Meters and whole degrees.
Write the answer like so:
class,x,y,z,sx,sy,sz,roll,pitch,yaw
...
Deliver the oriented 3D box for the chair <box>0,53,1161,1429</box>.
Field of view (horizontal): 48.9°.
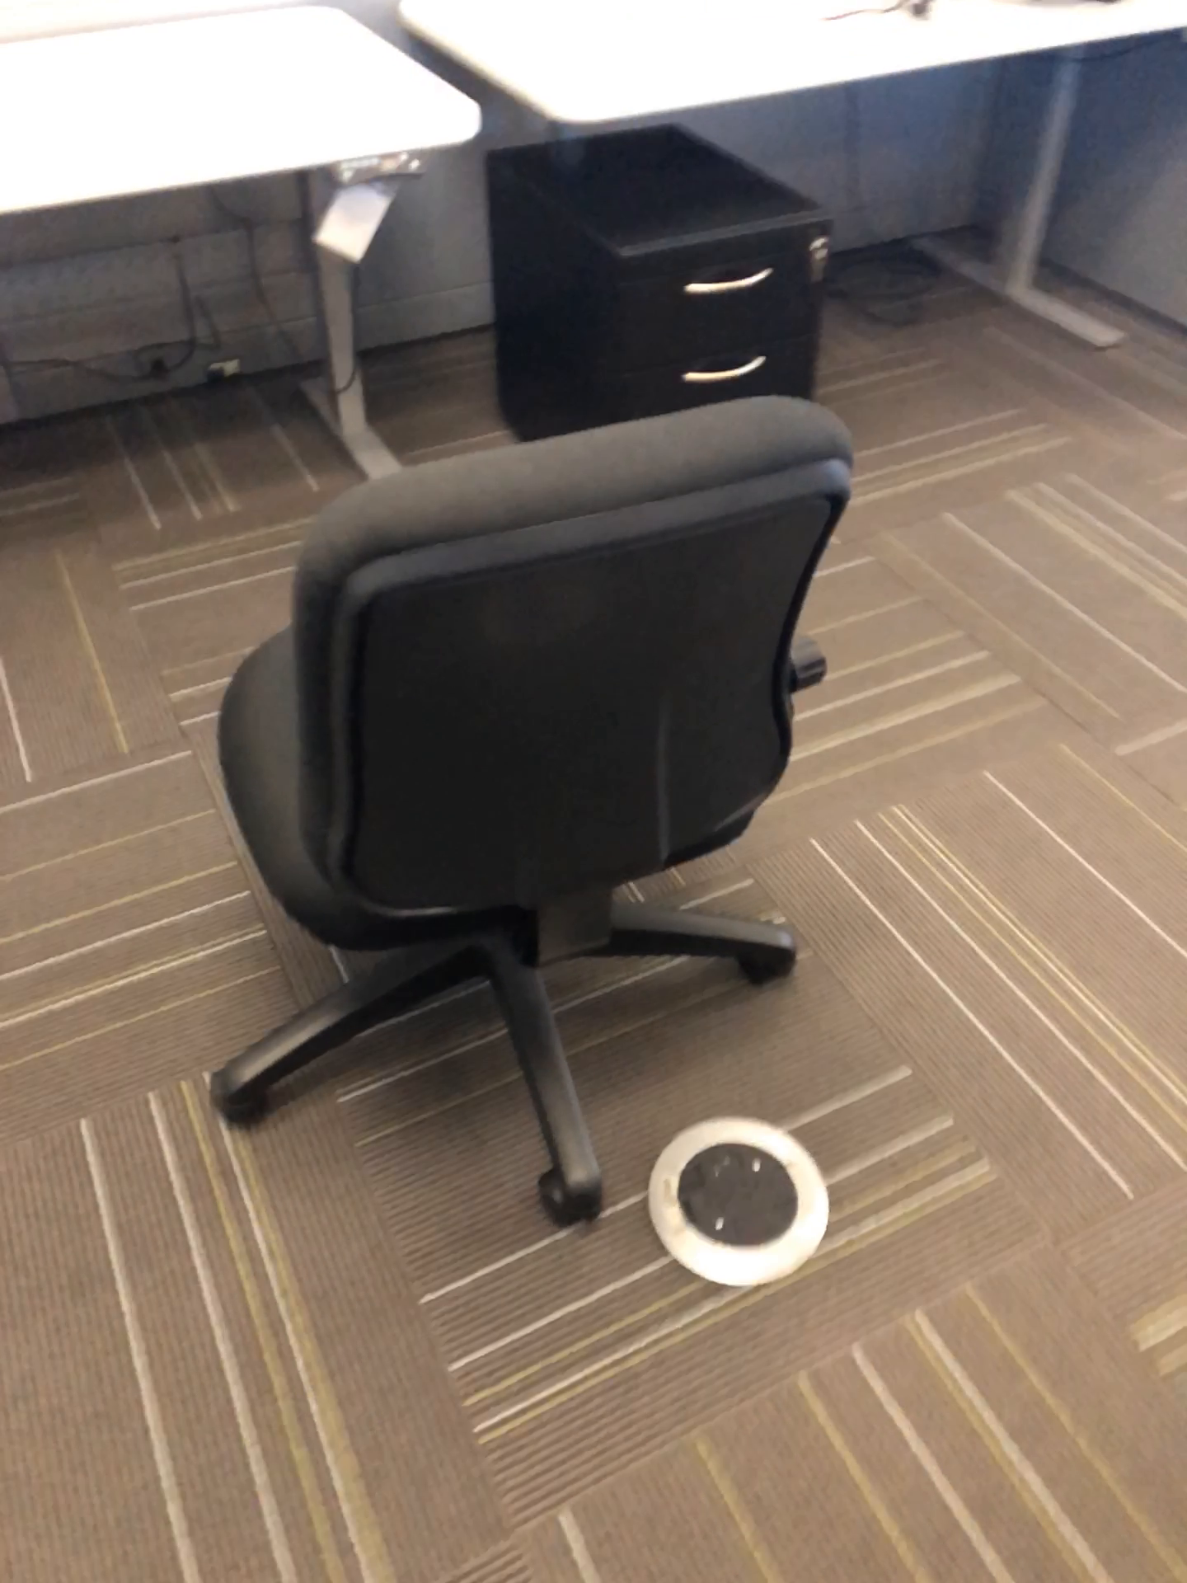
class,x,y,z,sx,sy,sz,roll,pitch,yaw
chair,-0.148,-0.100,1.247,0.771,0.846,0.763,-19,45,-19
